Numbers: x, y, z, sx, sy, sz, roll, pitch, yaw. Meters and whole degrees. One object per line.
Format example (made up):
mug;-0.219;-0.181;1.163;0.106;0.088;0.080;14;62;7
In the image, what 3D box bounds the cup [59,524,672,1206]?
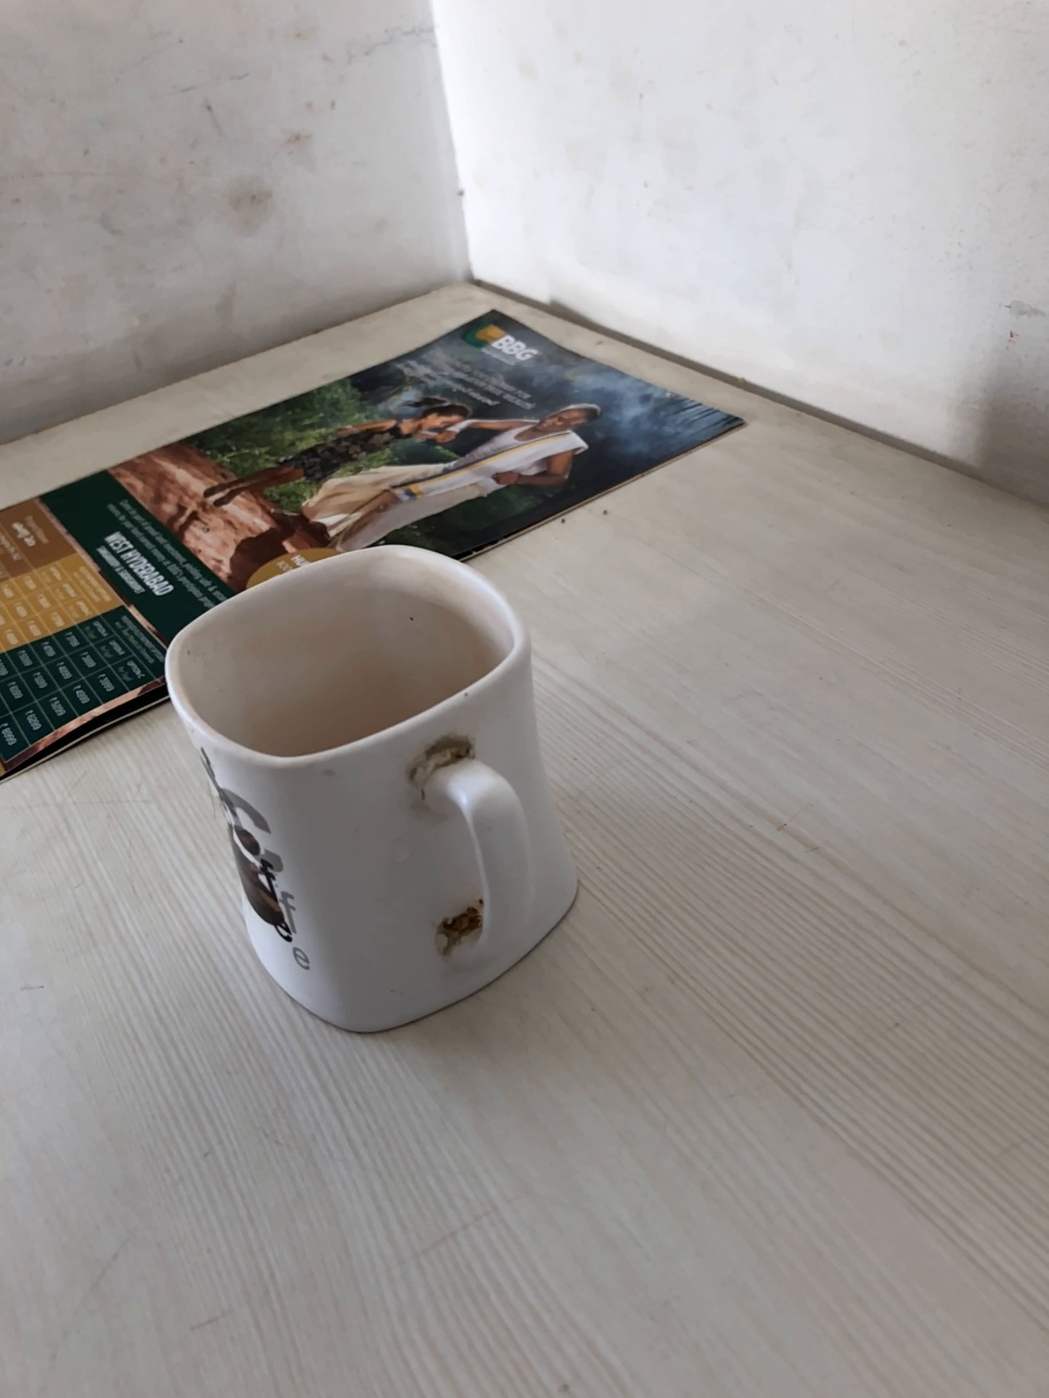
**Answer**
cup;-0.030;0.025;0.225;0.070;0.070;0.090;-28;41;-24
